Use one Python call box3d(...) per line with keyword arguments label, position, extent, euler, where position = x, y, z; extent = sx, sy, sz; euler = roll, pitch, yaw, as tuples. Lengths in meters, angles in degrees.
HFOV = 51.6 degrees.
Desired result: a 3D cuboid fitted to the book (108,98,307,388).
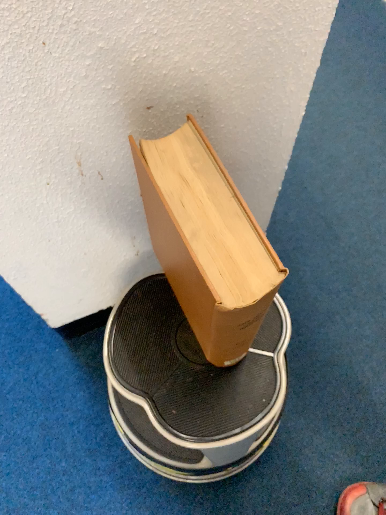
box3d(label="book", position=(0.004, 0.016, 0.513), extent=(0.090, 0.338, 0.221), euler=(-24, 65, -12))
